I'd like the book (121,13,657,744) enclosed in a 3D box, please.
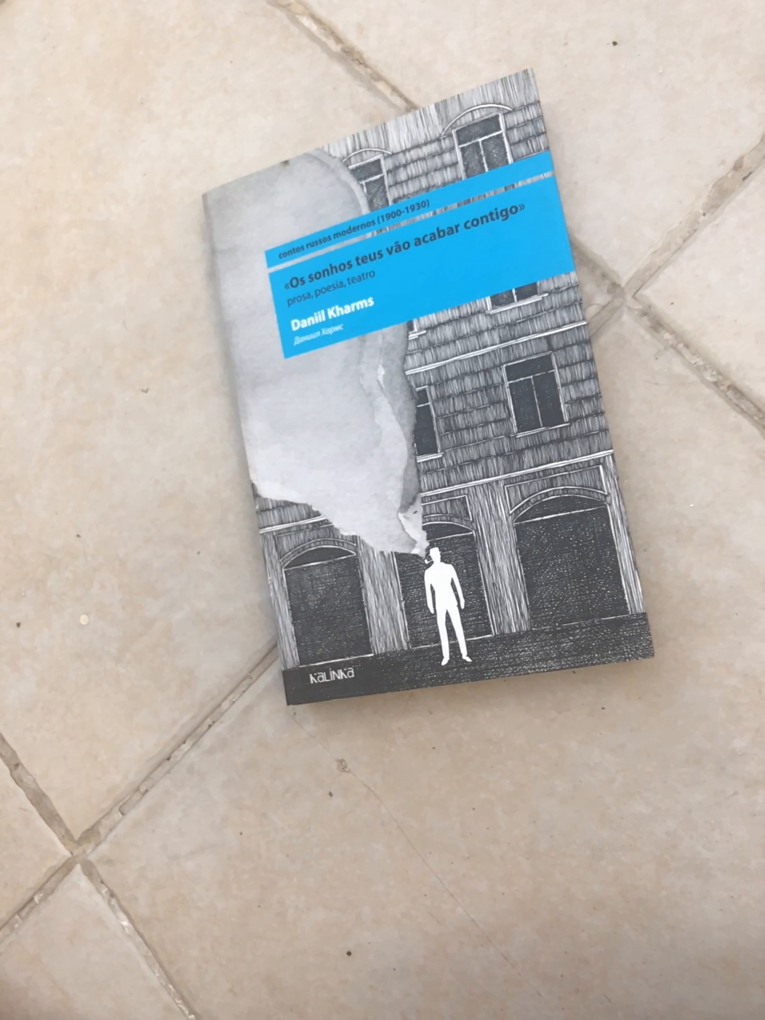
[{"bbox_3d":[-0.002,-0.029,0.244,0.120,0.040,0.170,-12,83,19],"label":"book"}]
